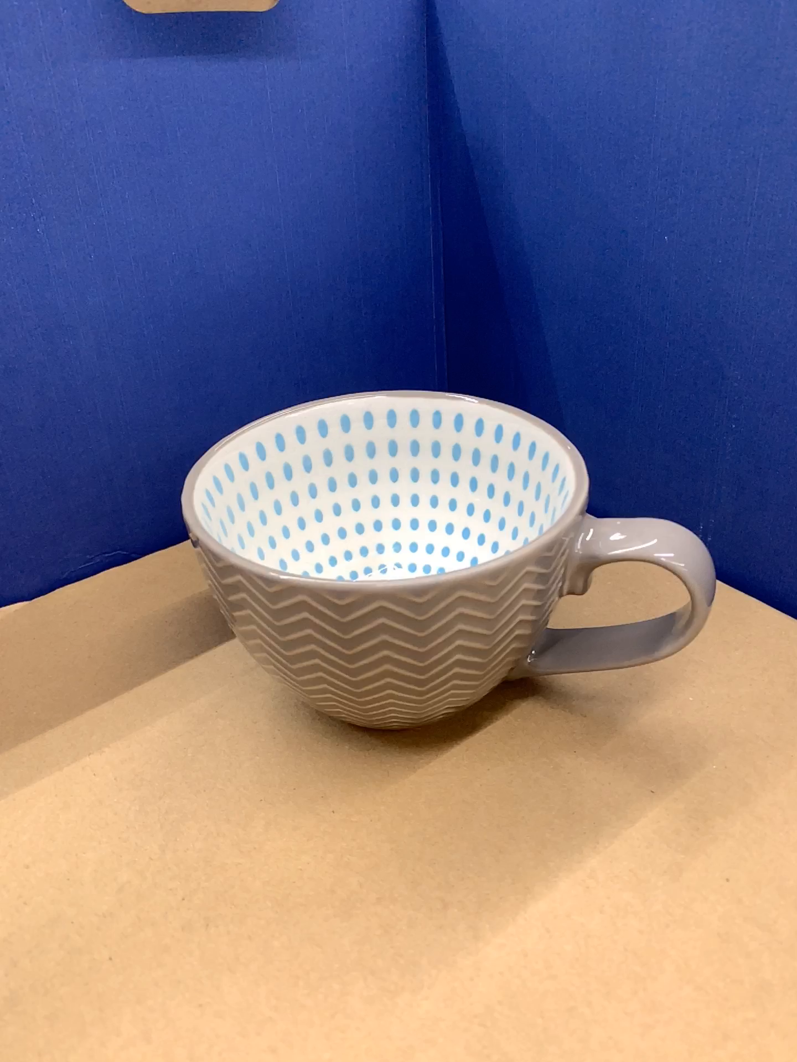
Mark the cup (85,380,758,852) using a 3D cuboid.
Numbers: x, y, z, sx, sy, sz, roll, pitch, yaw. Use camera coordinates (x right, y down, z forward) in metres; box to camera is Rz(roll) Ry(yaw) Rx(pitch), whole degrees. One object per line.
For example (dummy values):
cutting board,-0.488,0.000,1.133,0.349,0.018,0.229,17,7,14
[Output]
cup,0.014,0.009,0.235,0.143,0.061,0.119,5,31,15
